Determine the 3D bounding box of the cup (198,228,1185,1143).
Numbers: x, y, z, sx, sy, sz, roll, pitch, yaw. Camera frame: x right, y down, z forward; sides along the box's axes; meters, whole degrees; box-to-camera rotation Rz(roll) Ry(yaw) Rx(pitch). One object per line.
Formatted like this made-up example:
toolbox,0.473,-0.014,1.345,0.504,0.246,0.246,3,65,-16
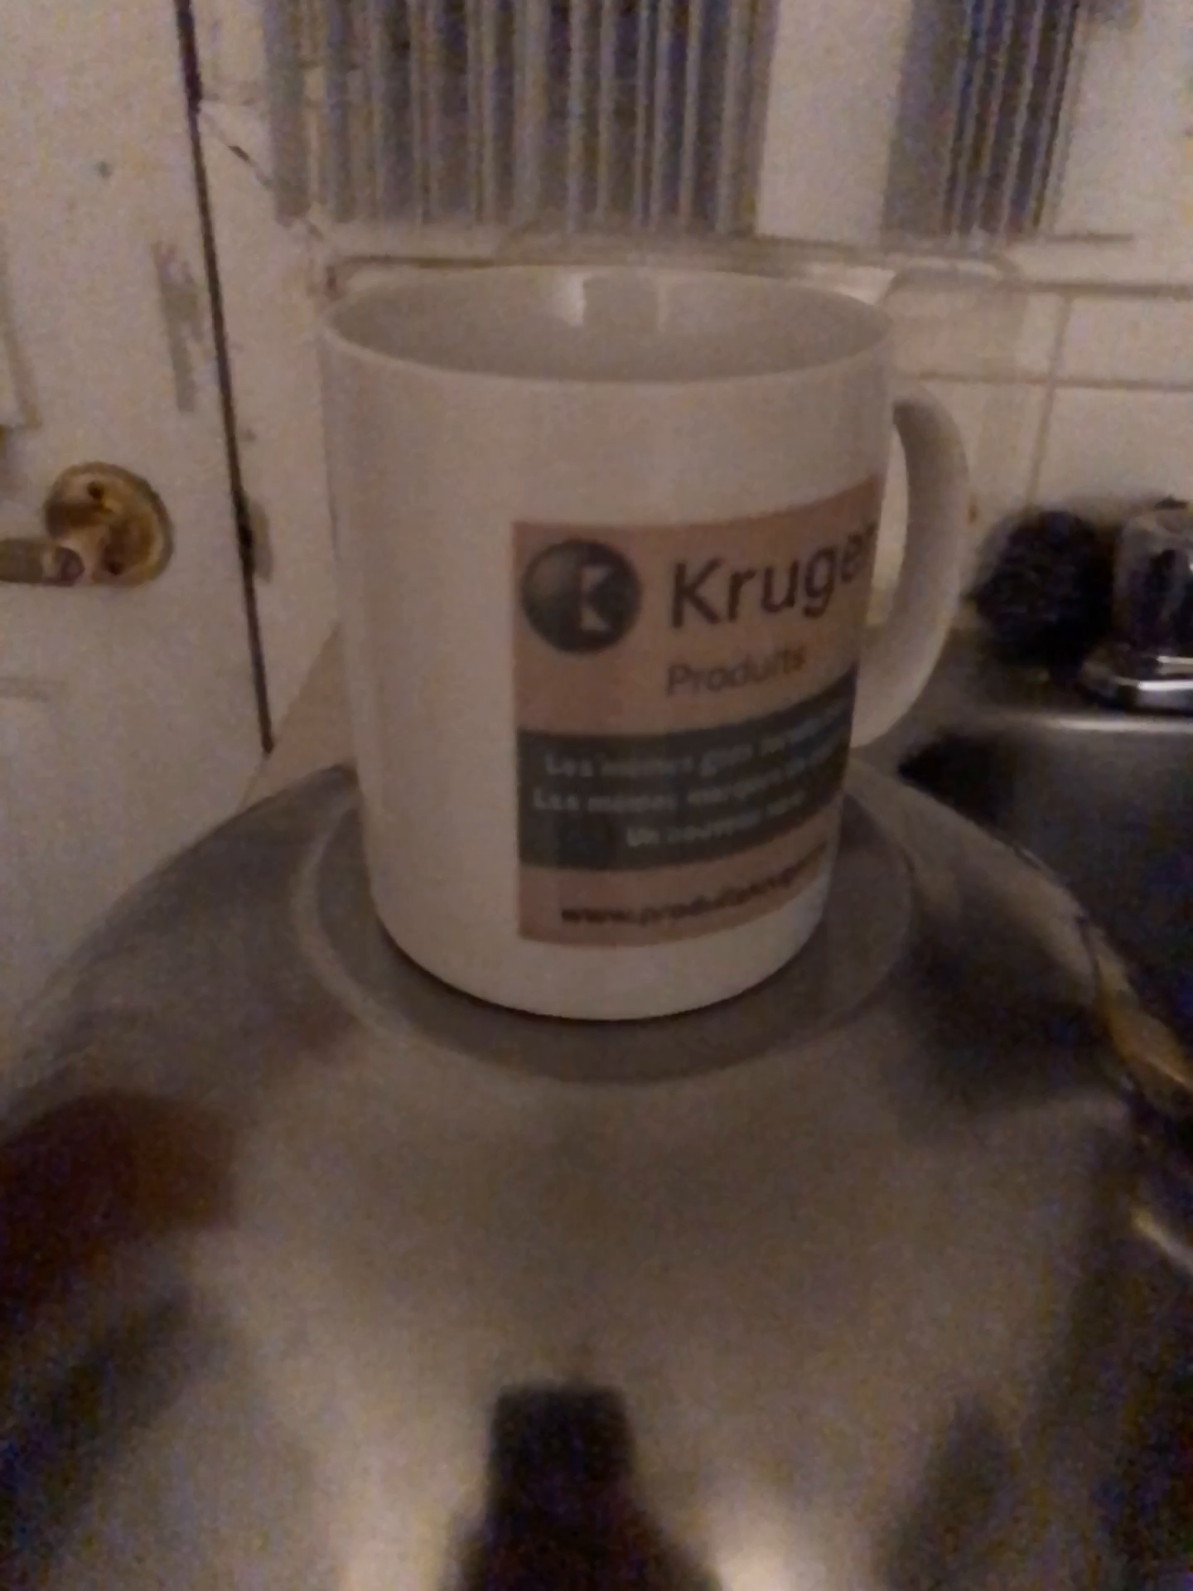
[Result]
cup,0.009,-0.029,0.228,0.120,0.109,0.091,-13,34,-23
